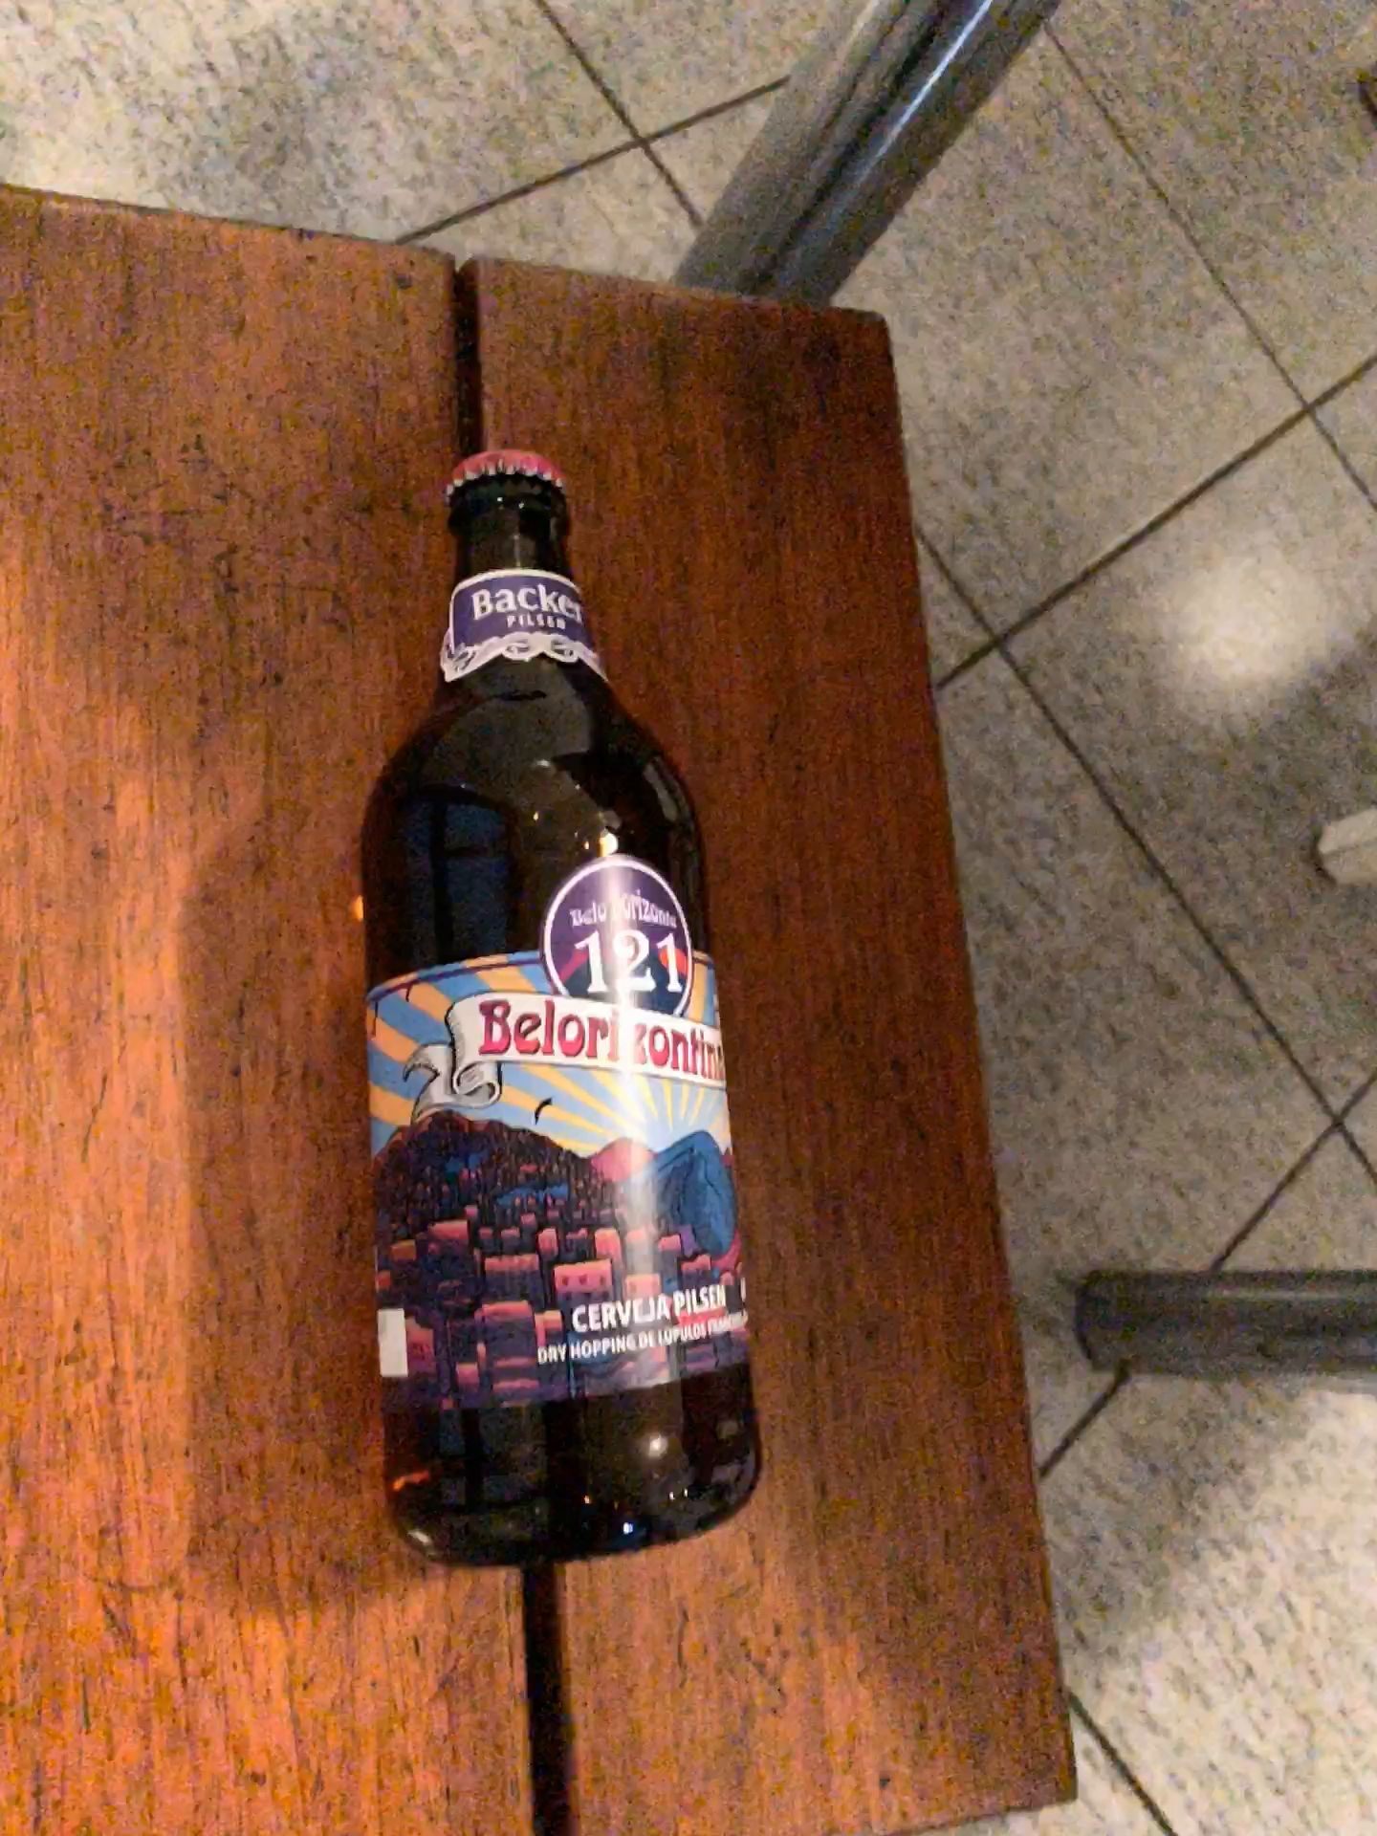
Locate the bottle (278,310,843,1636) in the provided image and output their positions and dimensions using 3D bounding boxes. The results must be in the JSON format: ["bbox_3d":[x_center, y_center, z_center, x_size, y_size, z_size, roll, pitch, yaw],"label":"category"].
[{"bbox_3d":[-0.031,0.004,0.295,0.080,0.050,0.240,0,77,-30],"label":"bottle"}]
